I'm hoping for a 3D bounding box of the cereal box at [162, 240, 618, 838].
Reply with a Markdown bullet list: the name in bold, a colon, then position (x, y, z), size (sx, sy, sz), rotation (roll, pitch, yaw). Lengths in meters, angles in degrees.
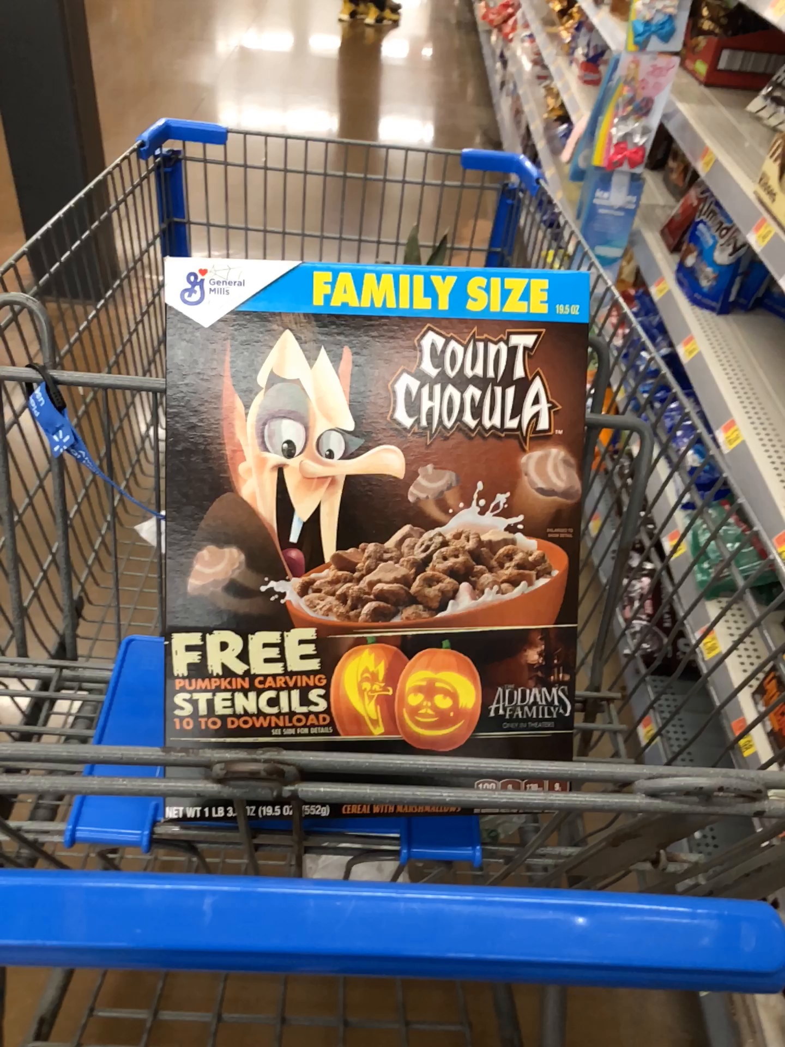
- **cereal box**: position (-0.006, 0.012, 0.528), size (0.250, 0.330, 0.080), rotation (1, 5, -6)
